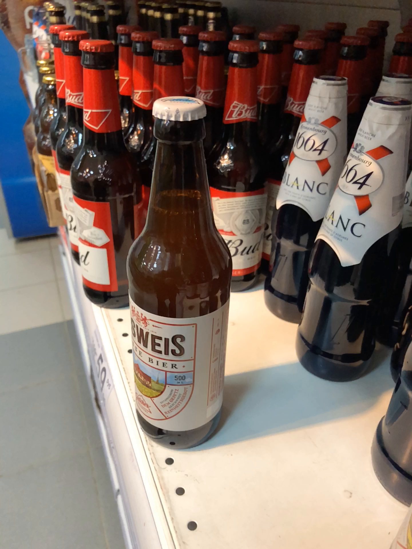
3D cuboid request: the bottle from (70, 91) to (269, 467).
[{"bbox_3d":[-0.020,0.009,0.304,0.080,0.229,0.070,27,41,36],"label":"bottle"}]
